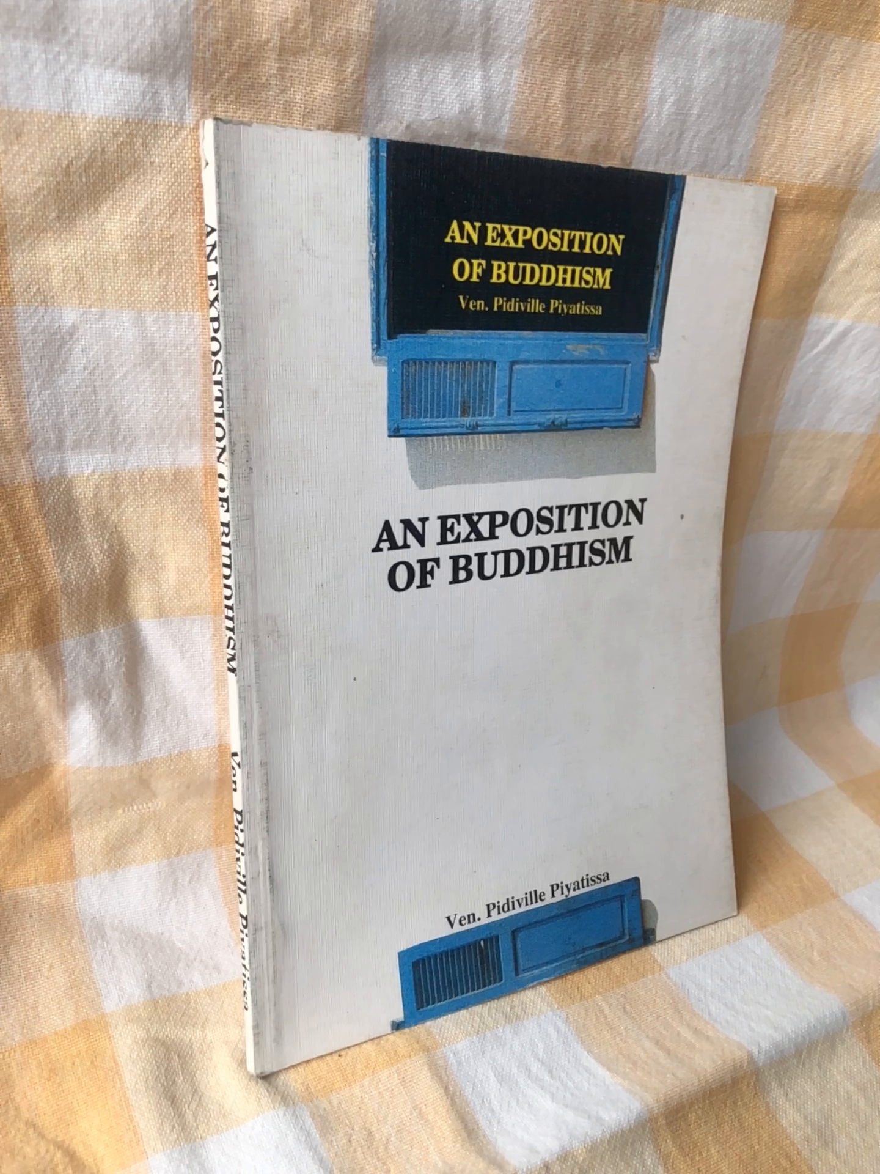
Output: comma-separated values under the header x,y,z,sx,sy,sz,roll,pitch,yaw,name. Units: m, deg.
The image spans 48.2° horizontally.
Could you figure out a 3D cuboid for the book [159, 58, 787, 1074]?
x,y,z,sx,sy,sz,roll,pitch,yaw,name
0.015,-0.003,0.229,0.140,0.200,0.020,-7,14,-26,book
